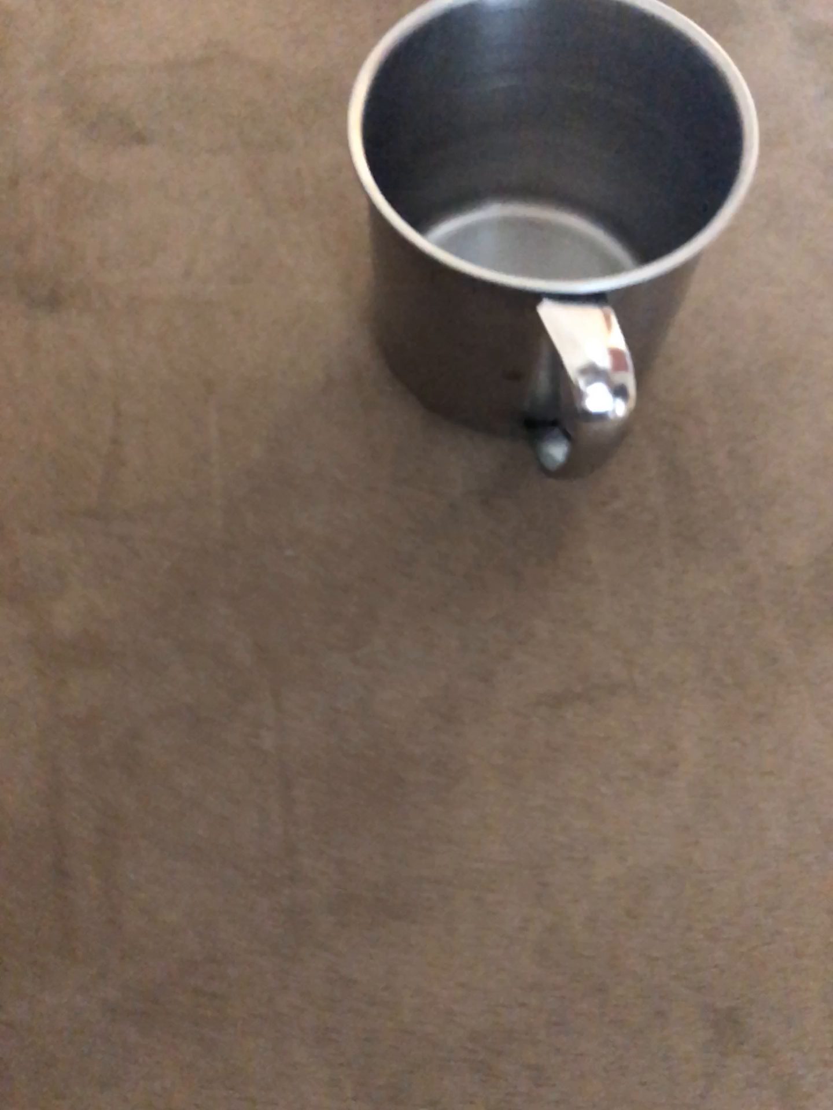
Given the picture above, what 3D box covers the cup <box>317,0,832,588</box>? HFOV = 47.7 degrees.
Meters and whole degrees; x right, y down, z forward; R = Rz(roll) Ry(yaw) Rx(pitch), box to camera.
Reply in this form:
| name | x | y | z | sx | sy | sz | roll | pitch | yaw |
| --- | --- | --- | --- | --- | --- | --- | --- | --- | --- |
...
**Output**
| name | x | y | z | sx | sy | sz | roll | pitch | yaw |
| --- | --- | --- | --- | --- | --- | --- | --- | --- | --- |
| cup | 0.033 | -0.063 | 0.218 | 0.090 | 0.070 | 0.110 | -10 | 70 | -3 |
